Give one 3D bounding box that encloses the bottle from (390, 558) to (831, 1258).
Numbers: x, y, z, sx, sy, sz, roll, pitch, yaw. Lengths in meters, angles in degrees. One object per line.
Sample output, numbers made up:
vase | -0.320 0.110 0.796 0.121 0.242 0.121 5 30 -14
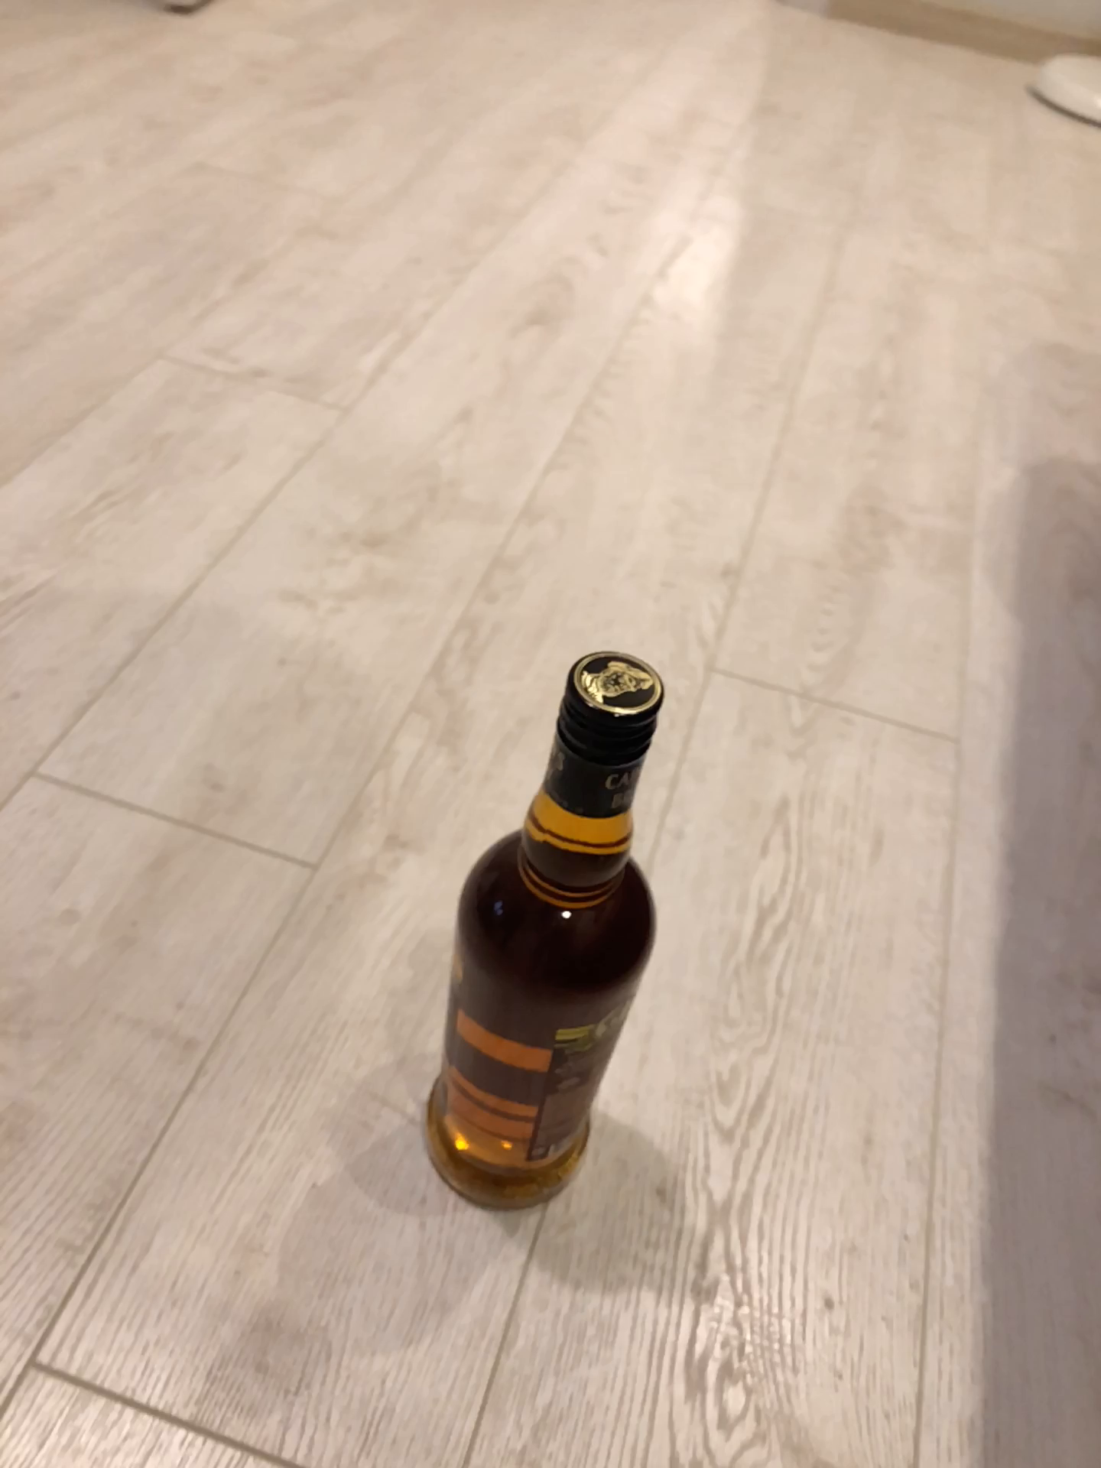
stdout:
bottle | 0.006 0.075 0.433 0.080 0.257 0.080 6 44 -6
